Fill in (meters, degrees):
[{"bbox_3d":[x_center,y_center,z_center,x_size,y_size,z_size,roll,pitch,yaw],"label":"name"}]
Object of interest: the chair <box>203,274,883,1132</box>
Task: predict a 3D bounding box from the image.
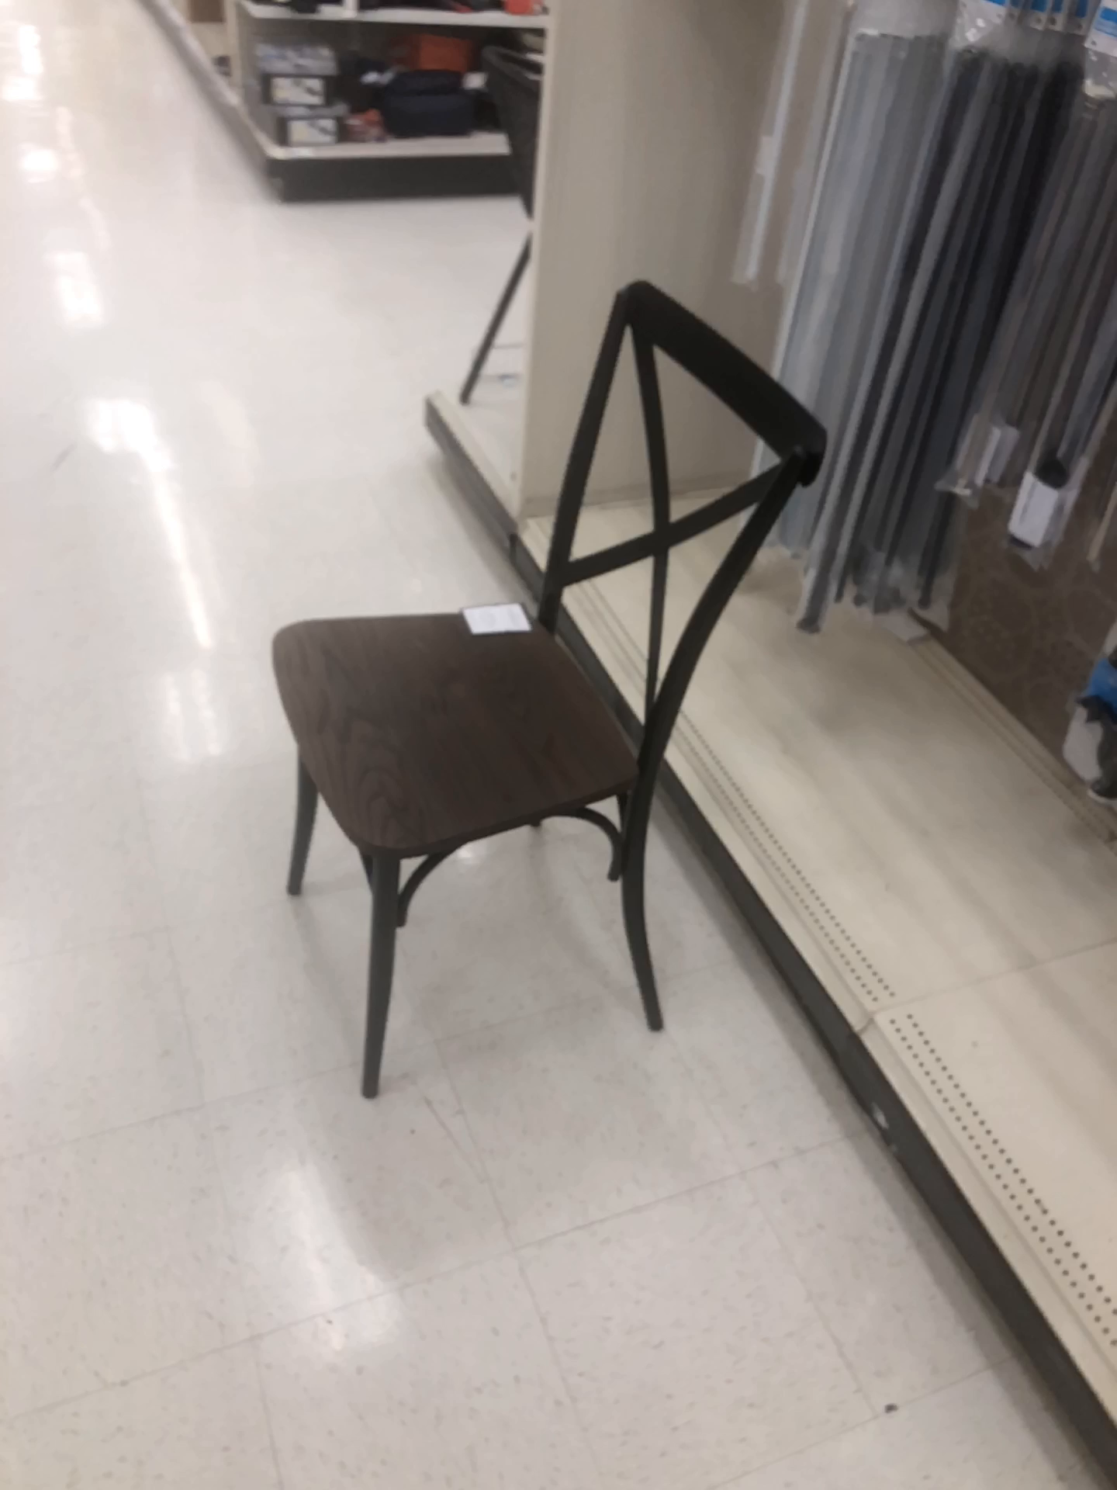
[{"bbox_3d":[-0.071,-0.049,1.458,0.526,0.811,0.477,-11,43,-20],"label":"chair"}]
